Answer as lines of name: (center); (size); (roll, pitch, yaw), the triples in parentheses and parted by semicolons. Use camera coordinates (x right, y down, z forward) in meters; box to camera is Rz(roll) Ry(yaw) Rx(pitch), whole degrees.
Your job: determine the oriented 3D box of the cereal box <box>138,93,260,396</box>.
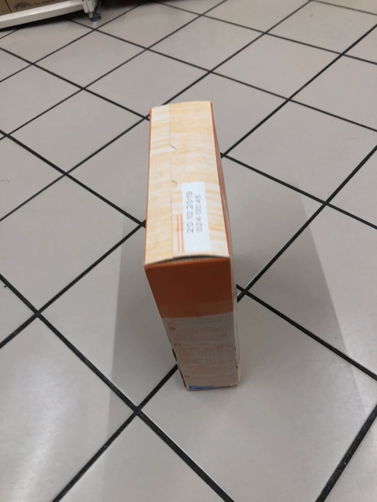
cereal box: (0.016, 0.005, 0.428); (0.080, 0.239, 0.201); (-6, 51, 4)
